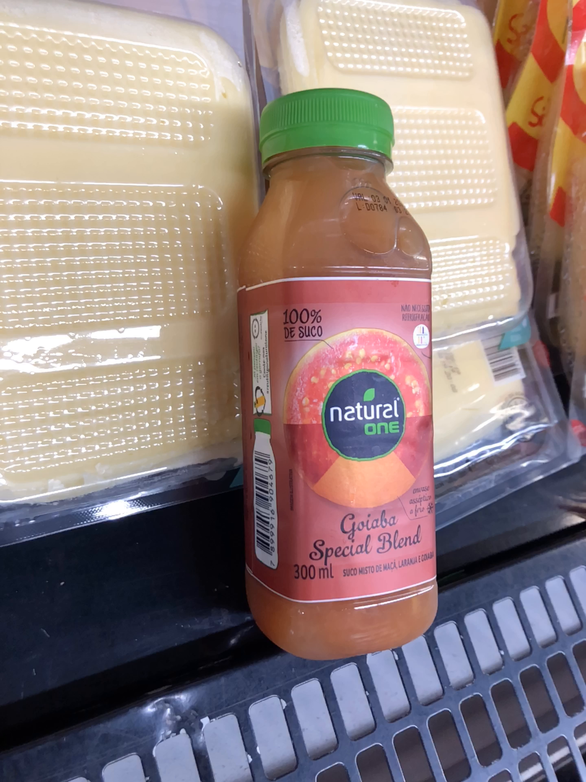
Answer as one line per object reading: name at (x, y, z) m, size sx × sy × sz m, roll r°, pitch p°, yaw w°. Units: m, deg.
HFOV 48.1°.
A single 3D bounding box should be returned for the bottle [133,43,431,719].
bottle at (-0.008, -0.004, 0.219) m, size 0.060 × 0.070 × 0.180 m, roll -3°, pitch 87°, yaw -28°
